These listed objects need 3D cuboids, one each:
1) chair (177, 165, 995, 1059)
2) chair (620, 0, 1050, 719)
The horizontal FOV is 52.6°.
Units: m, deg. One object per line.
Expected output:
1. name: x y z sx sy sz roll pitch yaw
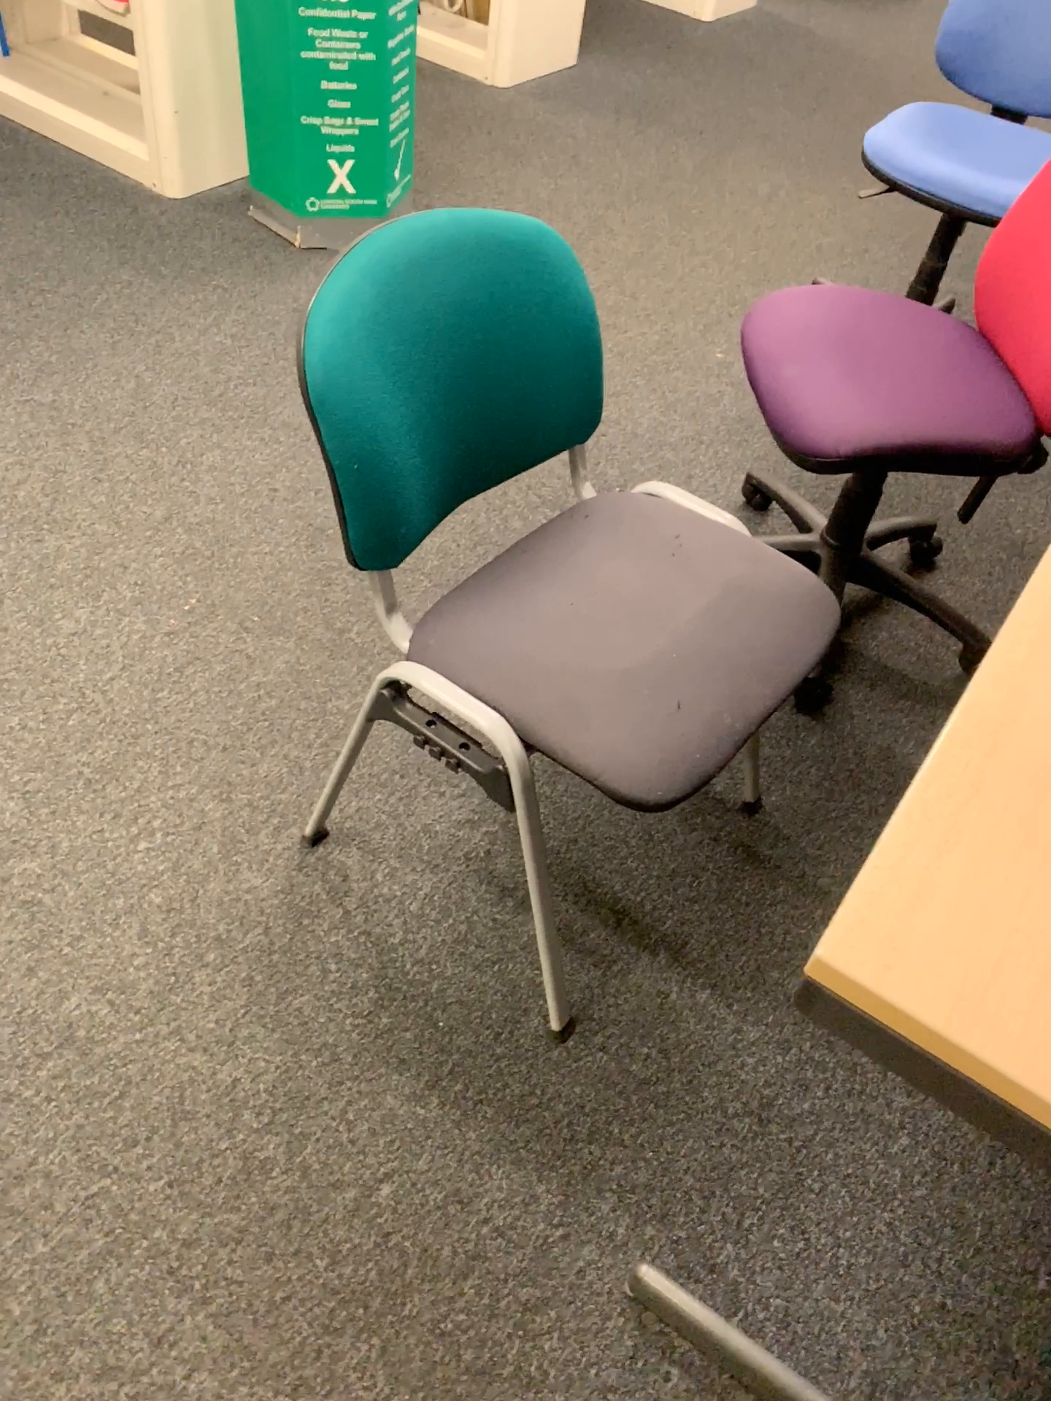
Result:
1. chair: 0.036 -0.114 1.297 0.600 0.721 0.555 33 50 21
2. chair: 0.614 -0.505 1.666 0.668 0.860 0.658 0 47 -10
